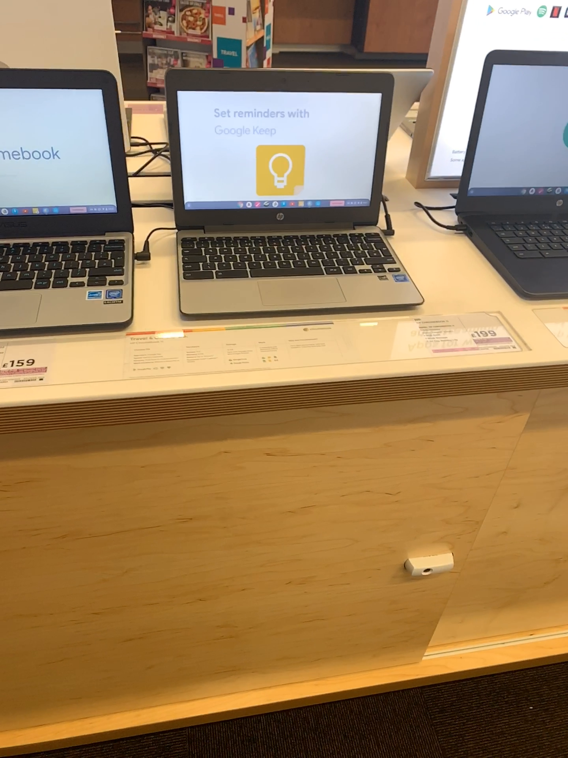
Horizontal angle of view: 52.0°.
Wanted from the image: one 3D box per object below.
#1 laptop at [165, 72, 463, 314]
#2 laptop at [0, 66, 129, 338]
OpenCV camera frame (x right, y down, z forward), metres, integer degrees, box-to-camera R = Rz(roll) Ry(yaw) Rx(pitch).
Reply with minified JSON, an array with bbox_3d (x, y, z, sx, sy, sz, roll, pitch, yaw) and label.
[{"bbox_3d":[0.012,-0.225,0.679,0.277,0.185,0.230,-4,41,-9],"label":"laptop"},{"bbox_3d":[-0.322,-0.194,0.613,0.286,0.180,0.223,-5,42,-10],"label":"laptop"}]
